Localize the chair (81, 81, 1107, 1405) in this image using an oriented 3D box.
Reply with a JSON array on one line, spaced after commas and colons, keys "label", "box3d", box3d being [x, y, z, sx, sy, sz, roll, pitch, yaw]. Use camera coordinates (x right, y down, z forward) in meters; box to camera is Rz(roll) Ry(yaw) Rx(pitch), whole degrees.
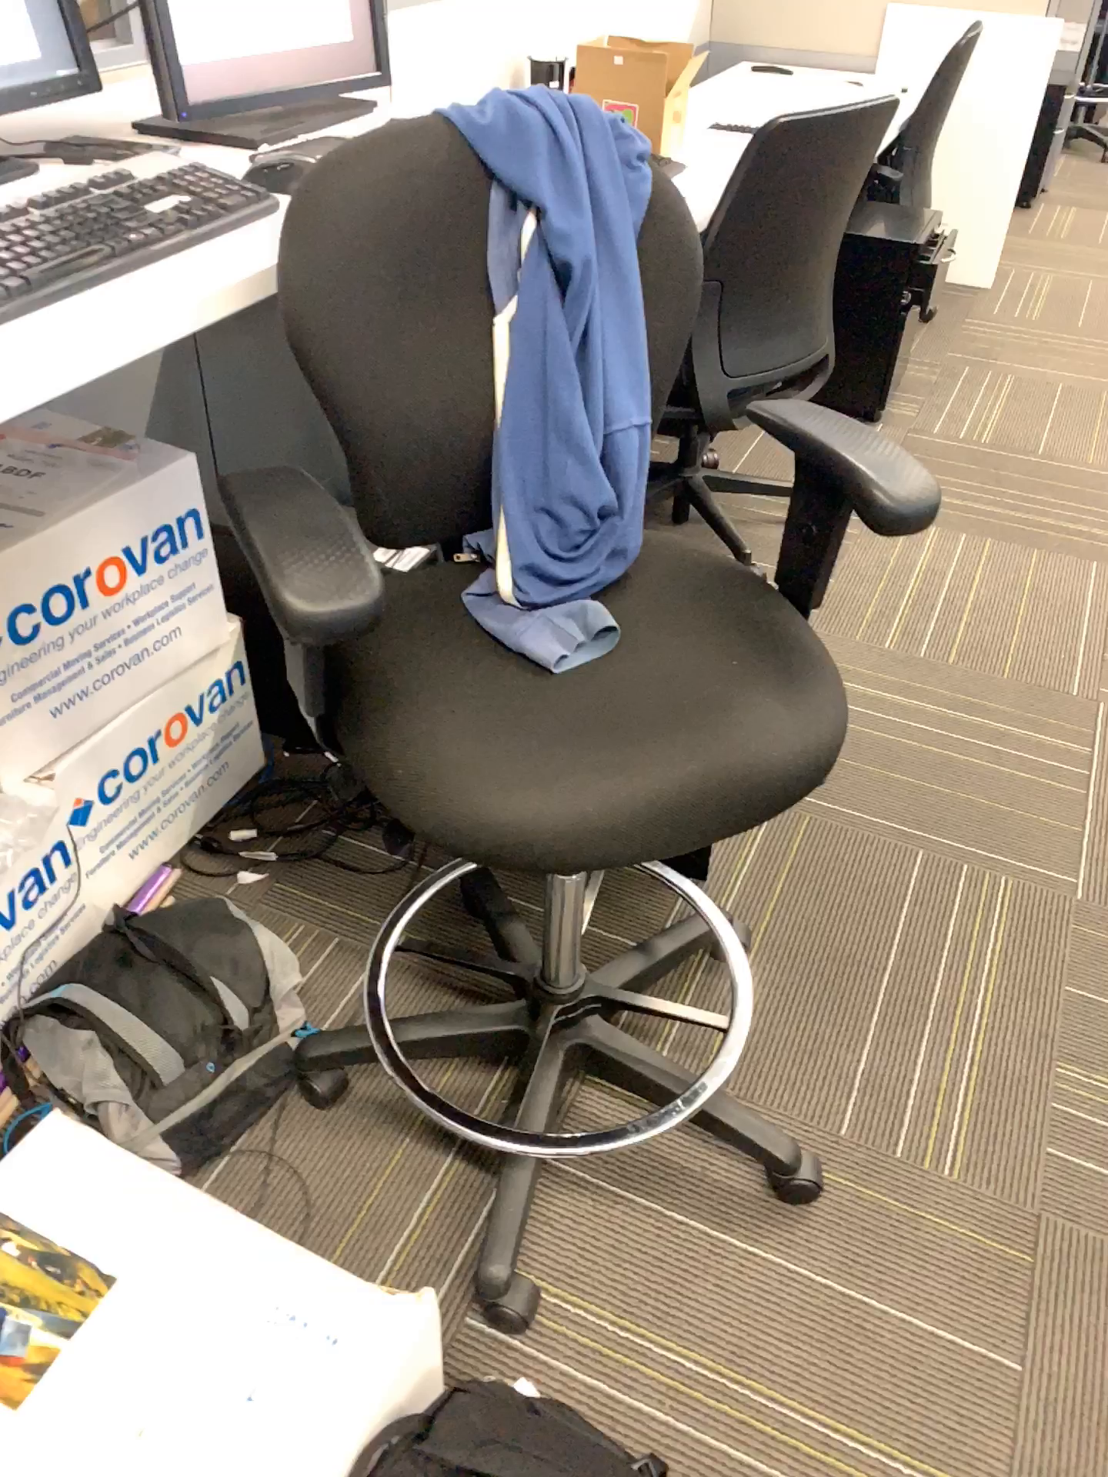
[{"label": "chair", "box3d": [0.000, -0.040, 1.255, 0.740, 1.063, 0.845, -11, 41, -16]}]
